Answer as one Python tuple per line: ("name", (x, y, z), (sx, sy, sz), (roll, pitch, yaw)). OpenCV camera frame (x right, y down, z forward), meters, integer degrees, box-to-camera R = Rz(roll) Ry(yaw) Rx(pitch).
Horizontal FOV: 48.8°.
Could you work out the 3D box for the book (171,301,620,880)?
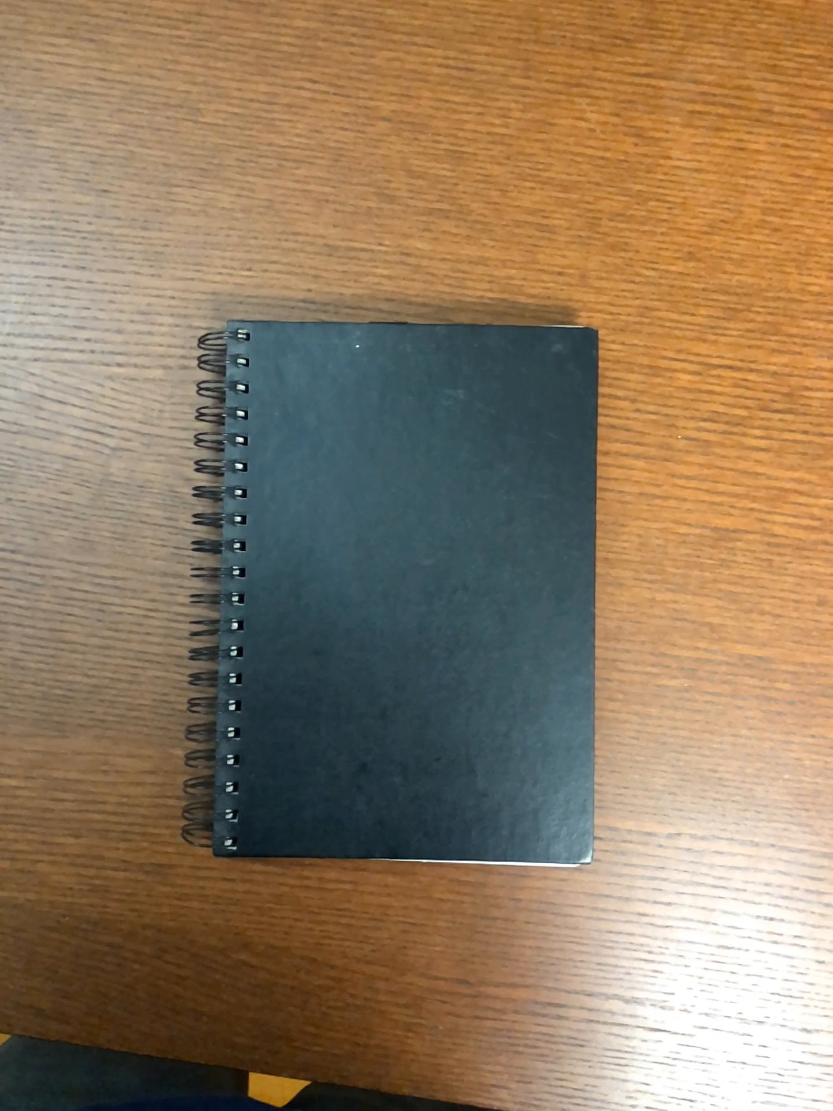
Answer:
("book", (-0.008, 0.014, 0.432), (0.200, 0.030, 0.260), (1, 88, 2))
